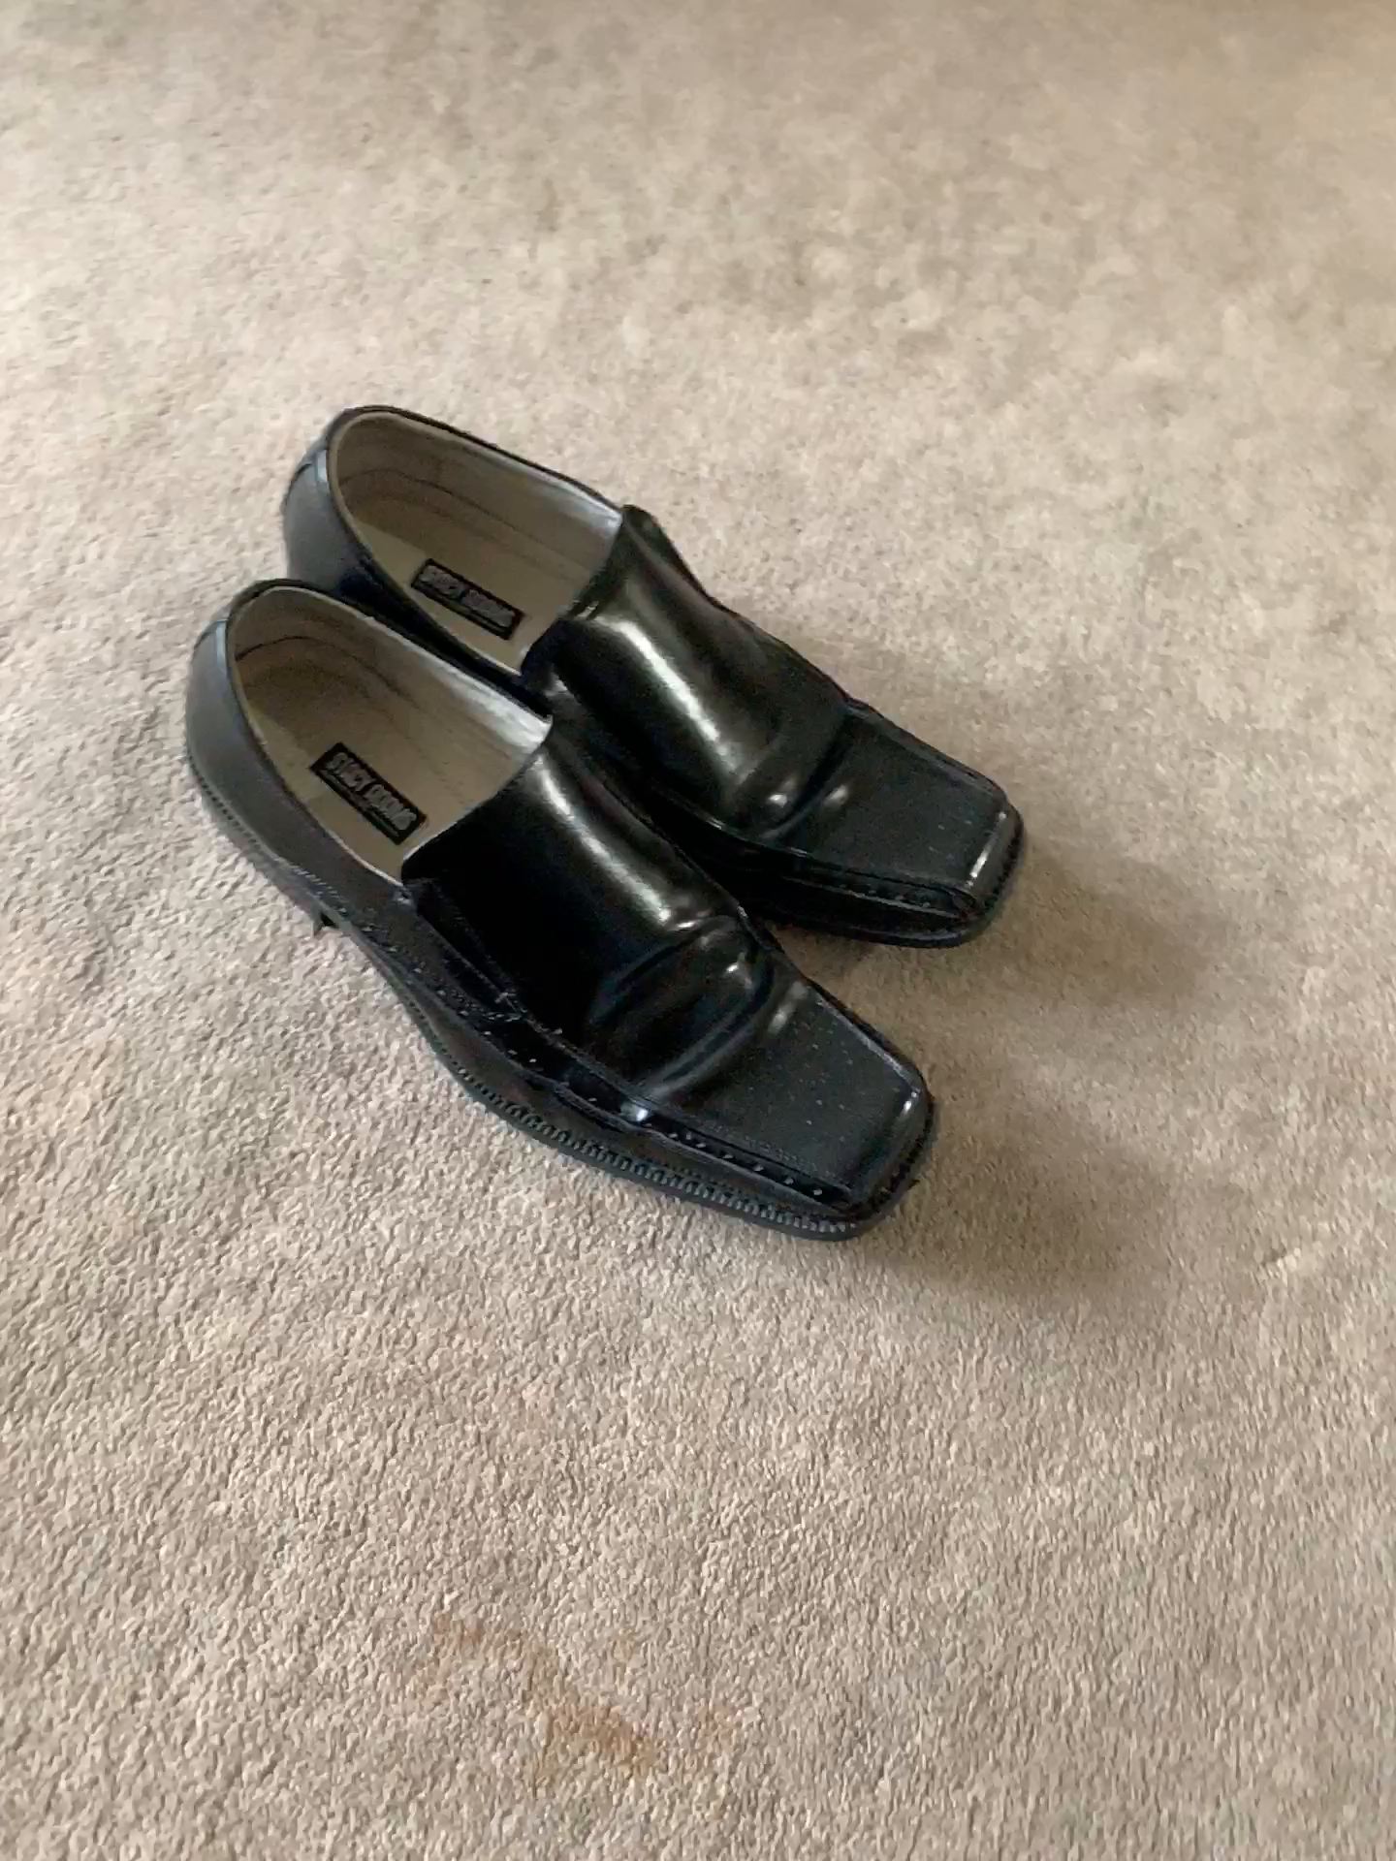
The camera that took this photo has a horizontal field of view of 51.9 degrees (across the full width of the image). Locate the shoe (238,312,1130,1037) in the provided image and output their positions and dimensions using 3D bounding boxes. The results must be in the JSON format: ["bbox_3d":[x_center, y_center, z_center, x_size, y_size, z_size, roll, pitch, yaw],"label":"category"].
[{"bbox_3d":[-0.010,-0.098,0.572,0.310,0.119,0.111,29,65,5],"label":"shoe"}]

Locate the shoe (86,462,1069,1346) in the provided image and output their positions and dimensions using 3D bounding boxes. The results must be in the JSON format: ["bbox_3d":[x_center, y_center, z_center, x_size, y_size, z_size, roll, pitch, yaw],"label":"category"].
[{"bbox_3d":[-0.048,-0.008,0.516,0.320,0.119,0.111,38,66,9],"label":"shoe"}]
